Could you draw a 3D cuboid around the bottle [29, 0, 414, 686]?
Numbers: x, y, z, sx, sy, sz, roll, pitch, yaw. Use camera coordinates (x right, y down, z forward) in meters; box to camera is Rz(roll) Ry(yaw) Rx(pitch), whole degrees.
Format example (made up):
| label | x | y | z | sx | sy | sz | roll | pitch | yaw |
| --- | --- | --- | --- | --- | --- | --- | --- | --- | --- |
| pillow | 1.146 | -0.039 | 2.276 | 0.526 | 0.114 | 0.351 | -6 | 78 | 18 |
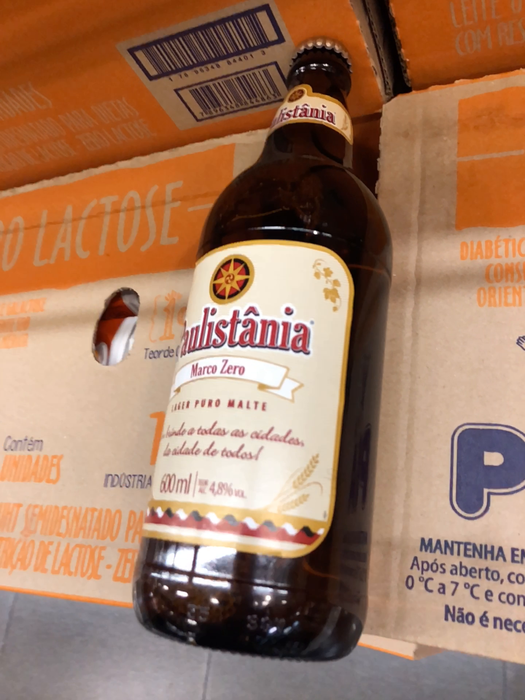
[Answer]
| label | x | y | z | sx | sy | sz | roll | pitch | yaw |
| --- | --- | --- | --- | --- | --- | --- | --- | --- | --- |
| bottle | 0.001 | -0.036 | 0.203 | 0.080 | 0.050 | 0.250 | -2 | 67 | 26 |
